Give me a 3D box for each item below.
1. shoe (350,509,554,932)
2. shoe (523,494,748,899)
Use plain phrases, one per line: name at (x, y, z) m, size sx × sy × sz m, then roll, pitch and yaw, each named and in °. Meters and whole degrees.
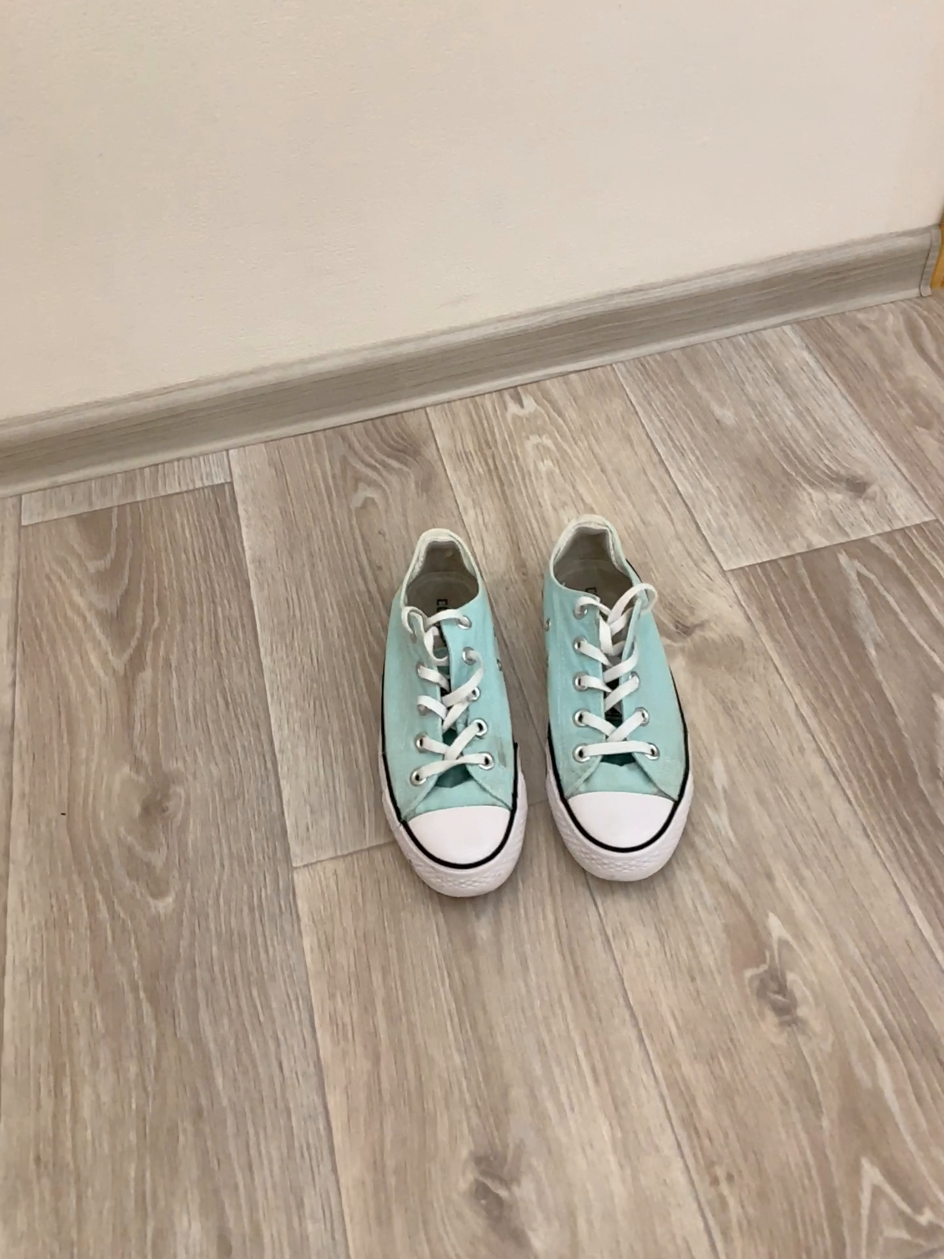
shoe at (-0.018, 0.043, 0.583) m, size 0.092 × 0.060 × 0.251 m, roll -7°, pitch 53°, yaw -1°
shoe at (0.089, 0.031, 0.594) m, size 0.100 × 0.060 × 0.251 m, roll -3°, pitch 53°, yaw 2°
